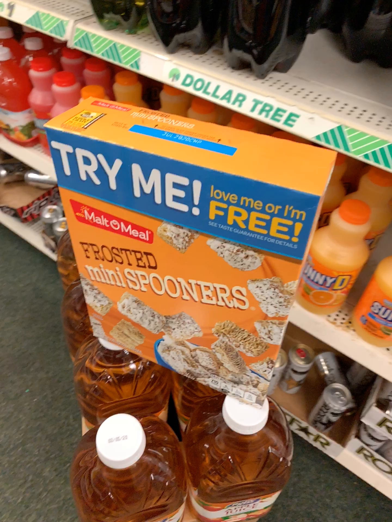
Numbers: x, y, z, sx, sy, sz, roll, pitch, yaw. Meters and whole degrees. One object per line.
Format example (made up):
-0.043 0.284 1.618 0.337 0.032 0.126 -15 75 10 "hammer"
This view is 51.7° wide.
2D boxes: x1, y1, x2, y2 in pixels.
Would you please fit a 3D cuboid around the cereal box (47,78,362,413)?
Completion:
-0.003 0.002 0.304 0.170 0.219 0.060 19 44 13 "cereal box"
